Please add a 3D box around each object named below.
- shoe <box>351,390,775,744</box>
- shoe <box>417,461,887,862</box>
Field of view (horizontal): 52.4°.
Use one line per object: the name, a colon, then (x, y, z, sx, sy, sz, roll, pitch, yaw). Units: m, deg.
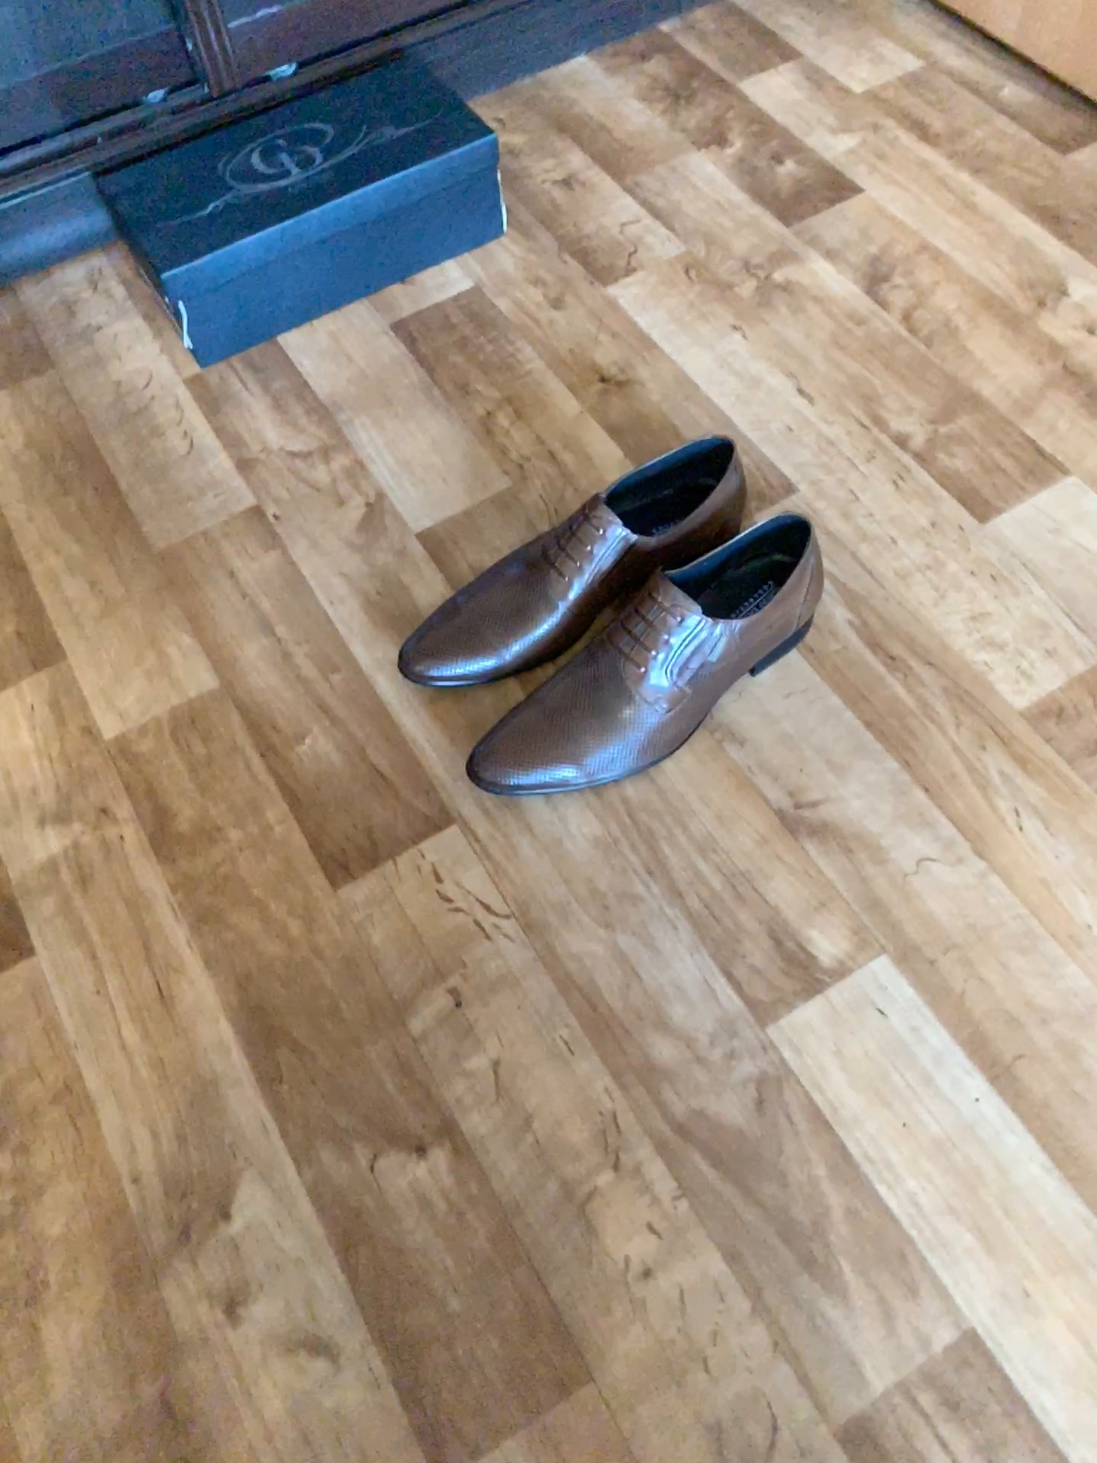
shoe: (0.016, -0.127, 0.861, 0.300, 0.120, 0.100, -29, 62, -12)
shoe: (0.075, -0.053, 0.790, 0.310, 0.100, 0.110, -32, 63, -14)
